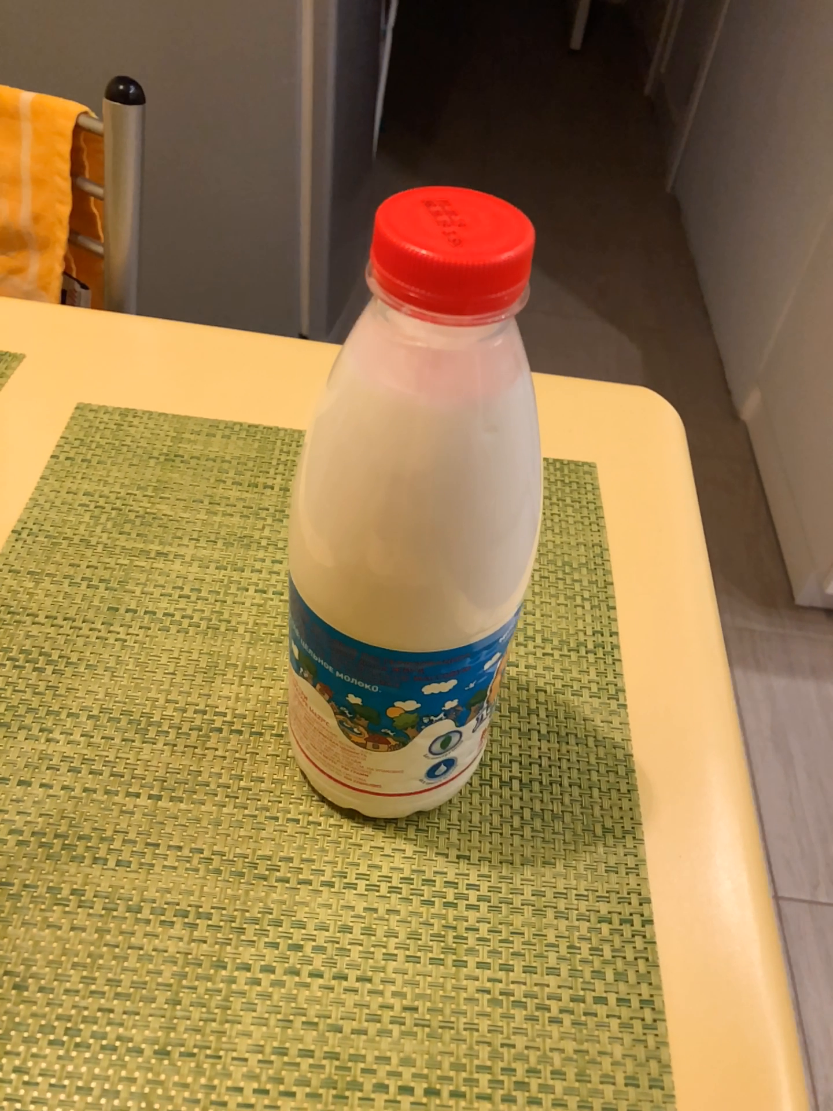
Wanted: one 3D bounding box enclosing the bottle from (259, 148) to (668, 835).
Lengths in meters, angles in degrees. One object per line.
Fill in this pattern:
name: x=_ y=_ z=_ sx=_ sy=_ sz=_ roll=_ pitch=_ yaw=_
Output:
bottle: x=-0.001 y=-0.003 z=0.308 sx=0.090 sy=0.218 sz=0.091 roll=4 pitch=45 yaw=-4
